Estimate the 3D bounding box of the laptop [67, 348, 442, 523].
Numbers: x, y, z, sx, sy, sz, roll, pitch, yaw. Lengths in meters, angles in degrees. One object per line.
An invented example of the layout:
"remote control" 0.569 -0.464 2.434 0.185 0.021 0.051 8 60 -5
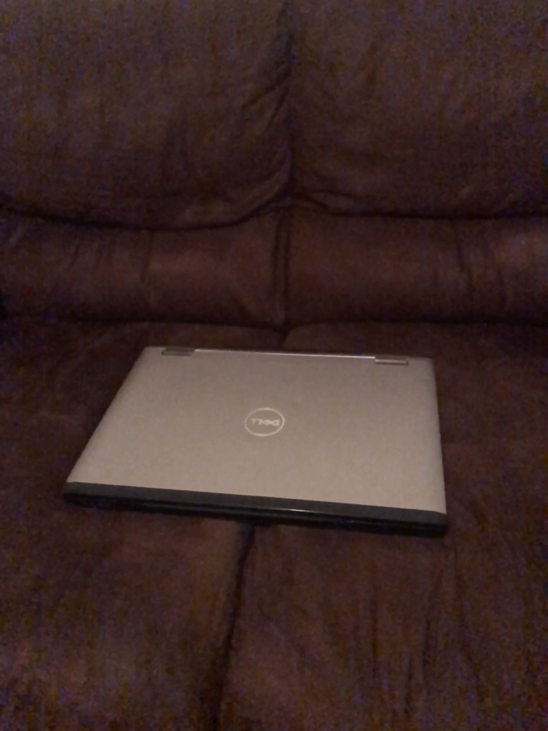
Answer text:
"laptop" -0.009 0.061 0.691 0.369 0.002 0.261 3 36 8
